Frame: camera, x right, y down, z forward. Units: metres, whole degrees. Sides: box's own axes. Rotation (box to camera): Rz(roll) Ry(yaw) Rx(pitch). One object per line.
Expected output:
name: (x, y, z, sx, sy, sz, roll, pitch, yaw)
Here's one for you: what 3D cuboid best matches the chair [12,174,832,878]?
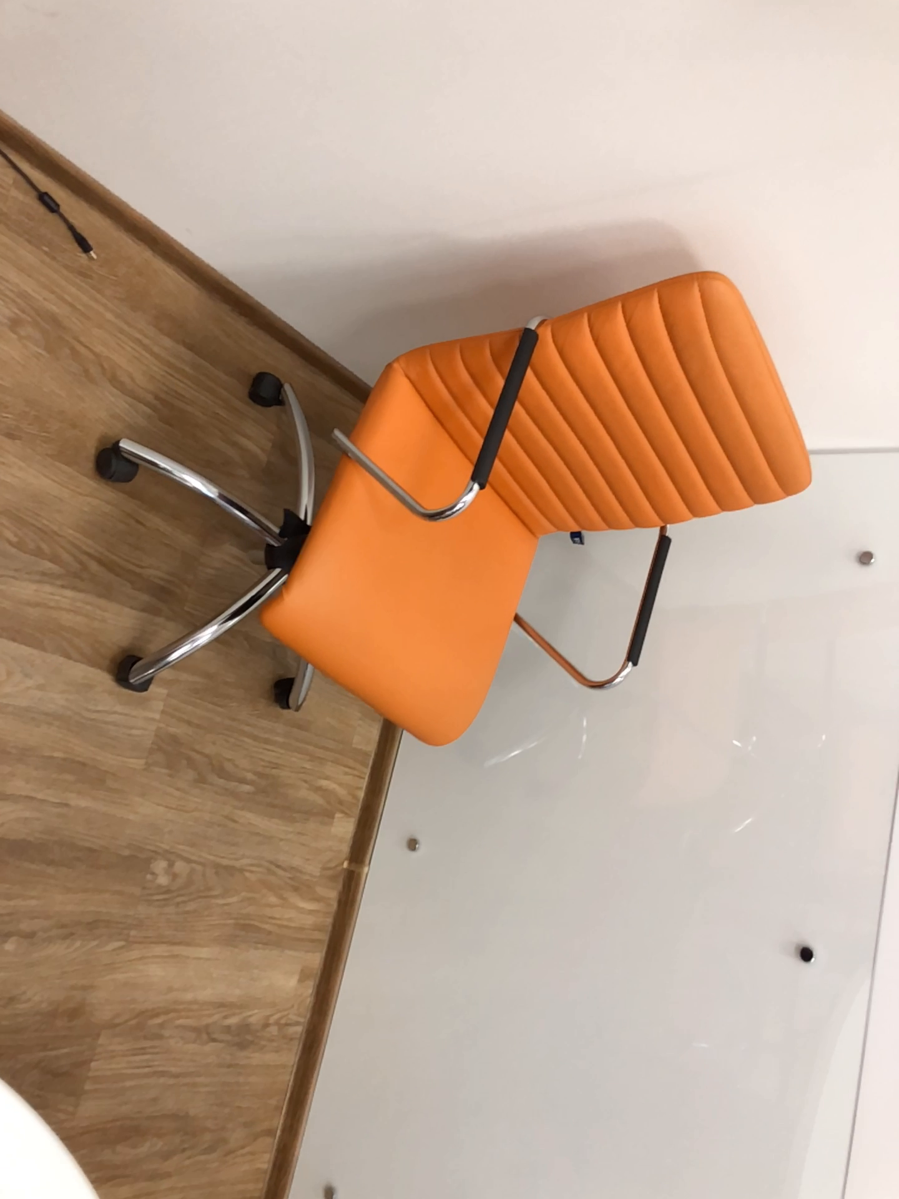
chair: (-0.016, -0.069, 1.484, 0.623, 0.895, 0.661, 37, 64, -48)
